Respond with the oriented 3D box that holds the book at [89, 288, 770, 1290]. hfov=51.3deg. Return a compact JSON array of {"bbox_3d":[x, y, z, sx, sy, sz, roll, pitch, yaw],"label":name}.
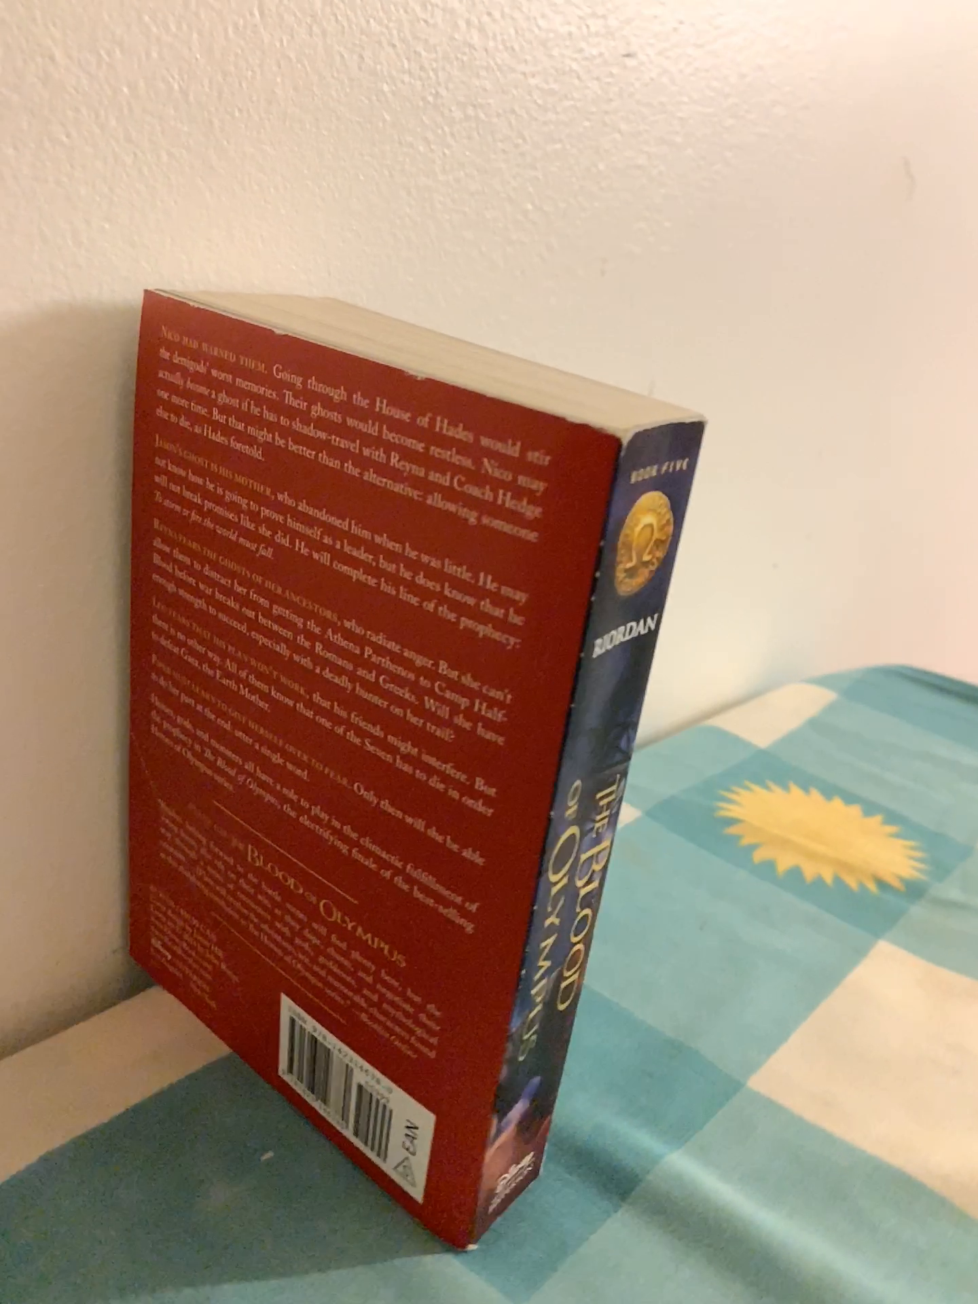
[{"bbox_3d":[-0.032,0.019,0.243,0.150,0.180,0.051,25,27,36],"label":"book"}]
